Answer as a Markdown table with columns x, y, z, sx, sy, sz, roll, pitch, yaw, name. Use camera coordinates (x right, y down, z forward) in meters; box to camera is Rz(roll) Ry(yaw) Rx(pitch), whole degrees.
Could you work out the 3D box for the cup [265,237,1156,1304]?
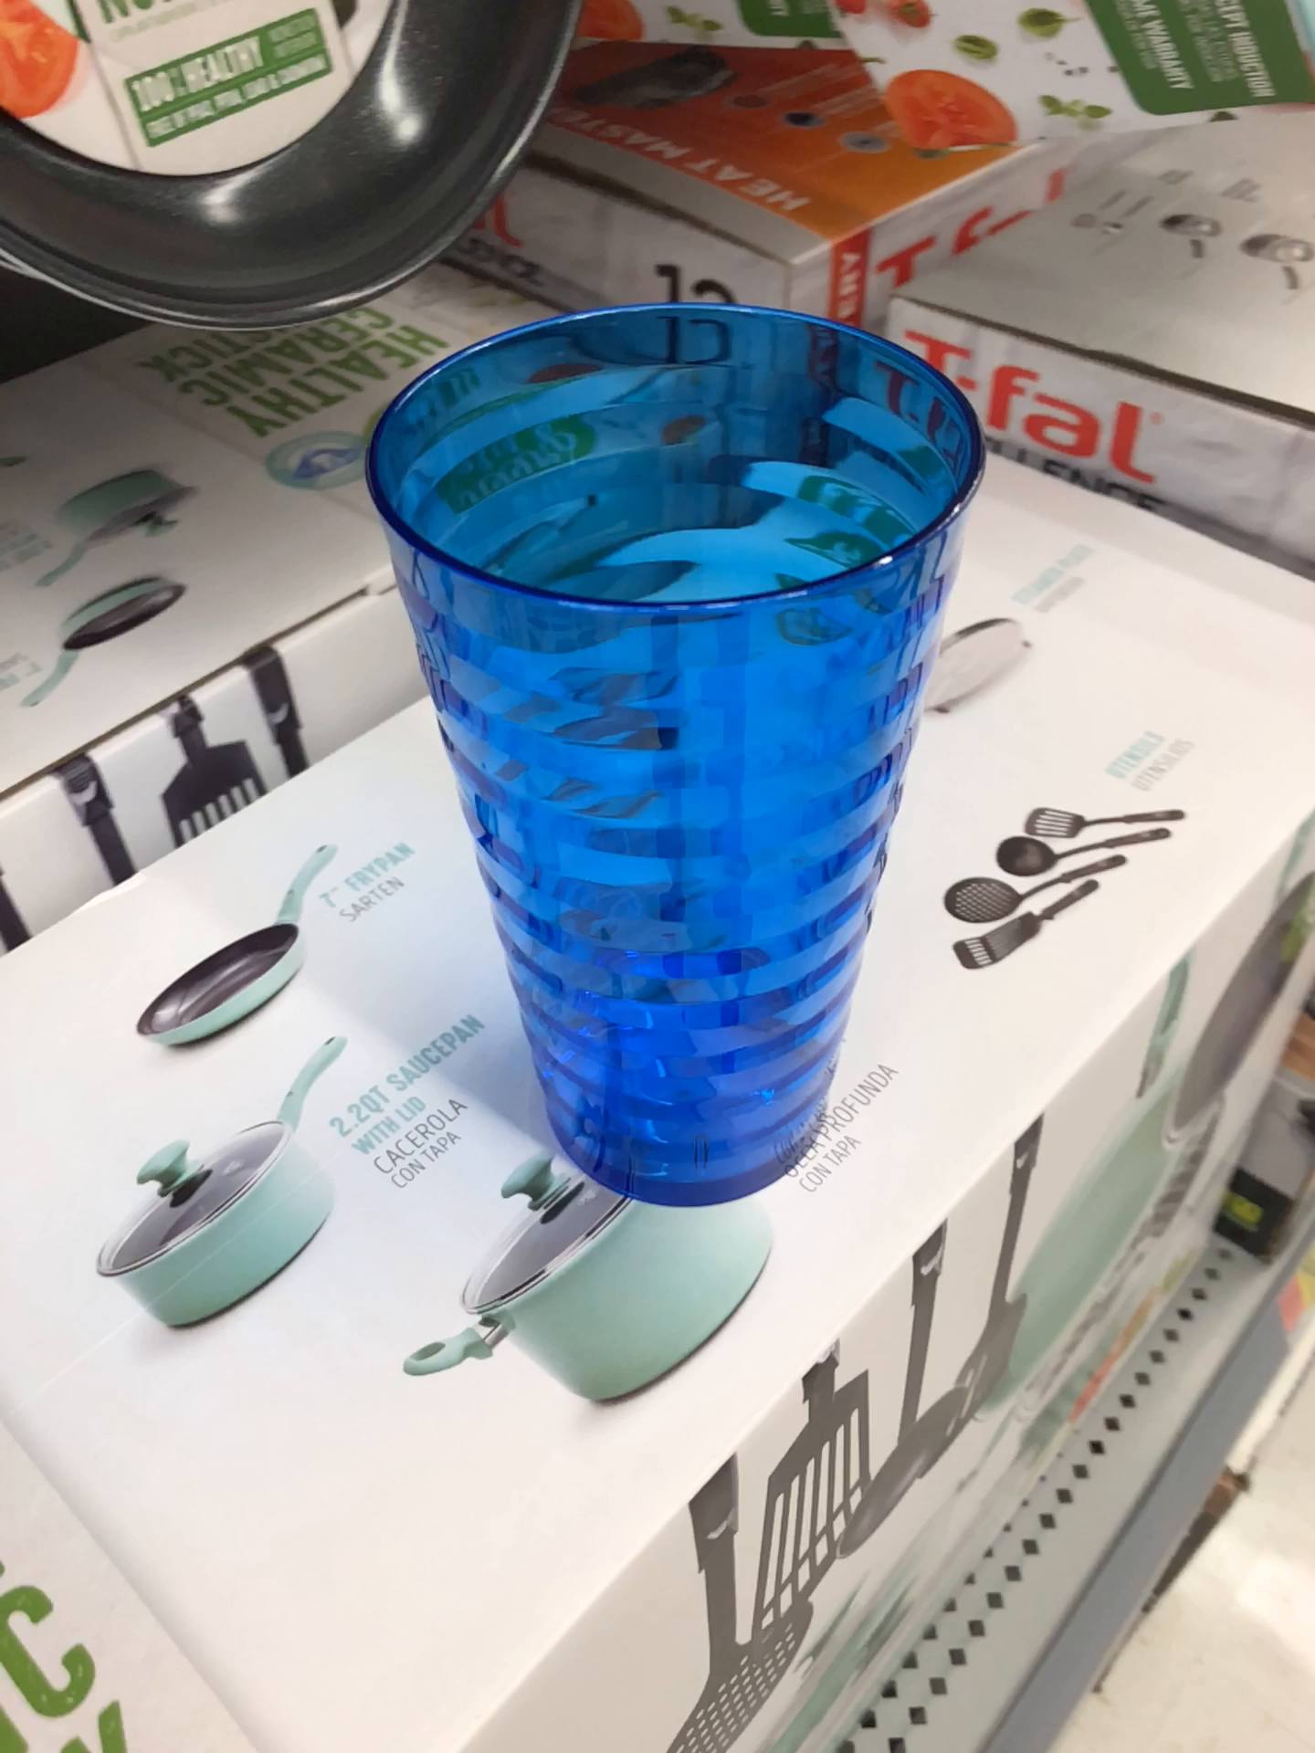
| x | y | z | sx | sy | sz | roll | pitch | yaw | name |
| --- | --- | --- | --- | --- | --- | --- | --- | --- | --- |
| 0.005 | -0.017 | 0.253 | 0.087 | 0.134 | 0.092 | 0 | 45 | 0 | cup |
